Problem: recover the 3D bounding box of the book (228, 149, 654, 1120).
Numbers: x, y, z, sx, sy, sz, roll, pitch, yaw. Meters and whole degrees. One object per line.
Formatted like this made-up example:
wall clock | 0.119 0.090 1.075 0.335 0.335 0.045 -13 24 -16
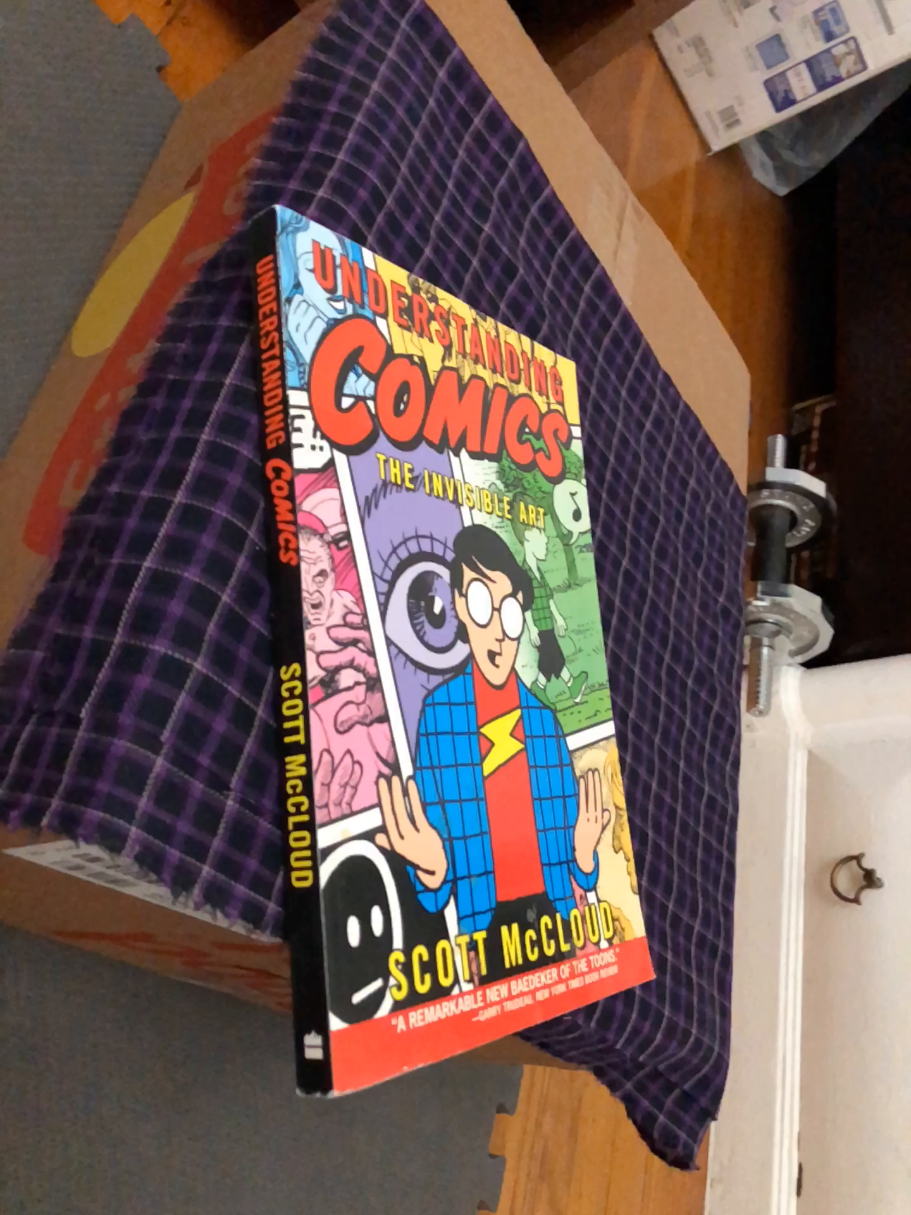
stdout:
book | 0.002 0.005 0.345 0.171 0.020 0.270 10 71 -51
